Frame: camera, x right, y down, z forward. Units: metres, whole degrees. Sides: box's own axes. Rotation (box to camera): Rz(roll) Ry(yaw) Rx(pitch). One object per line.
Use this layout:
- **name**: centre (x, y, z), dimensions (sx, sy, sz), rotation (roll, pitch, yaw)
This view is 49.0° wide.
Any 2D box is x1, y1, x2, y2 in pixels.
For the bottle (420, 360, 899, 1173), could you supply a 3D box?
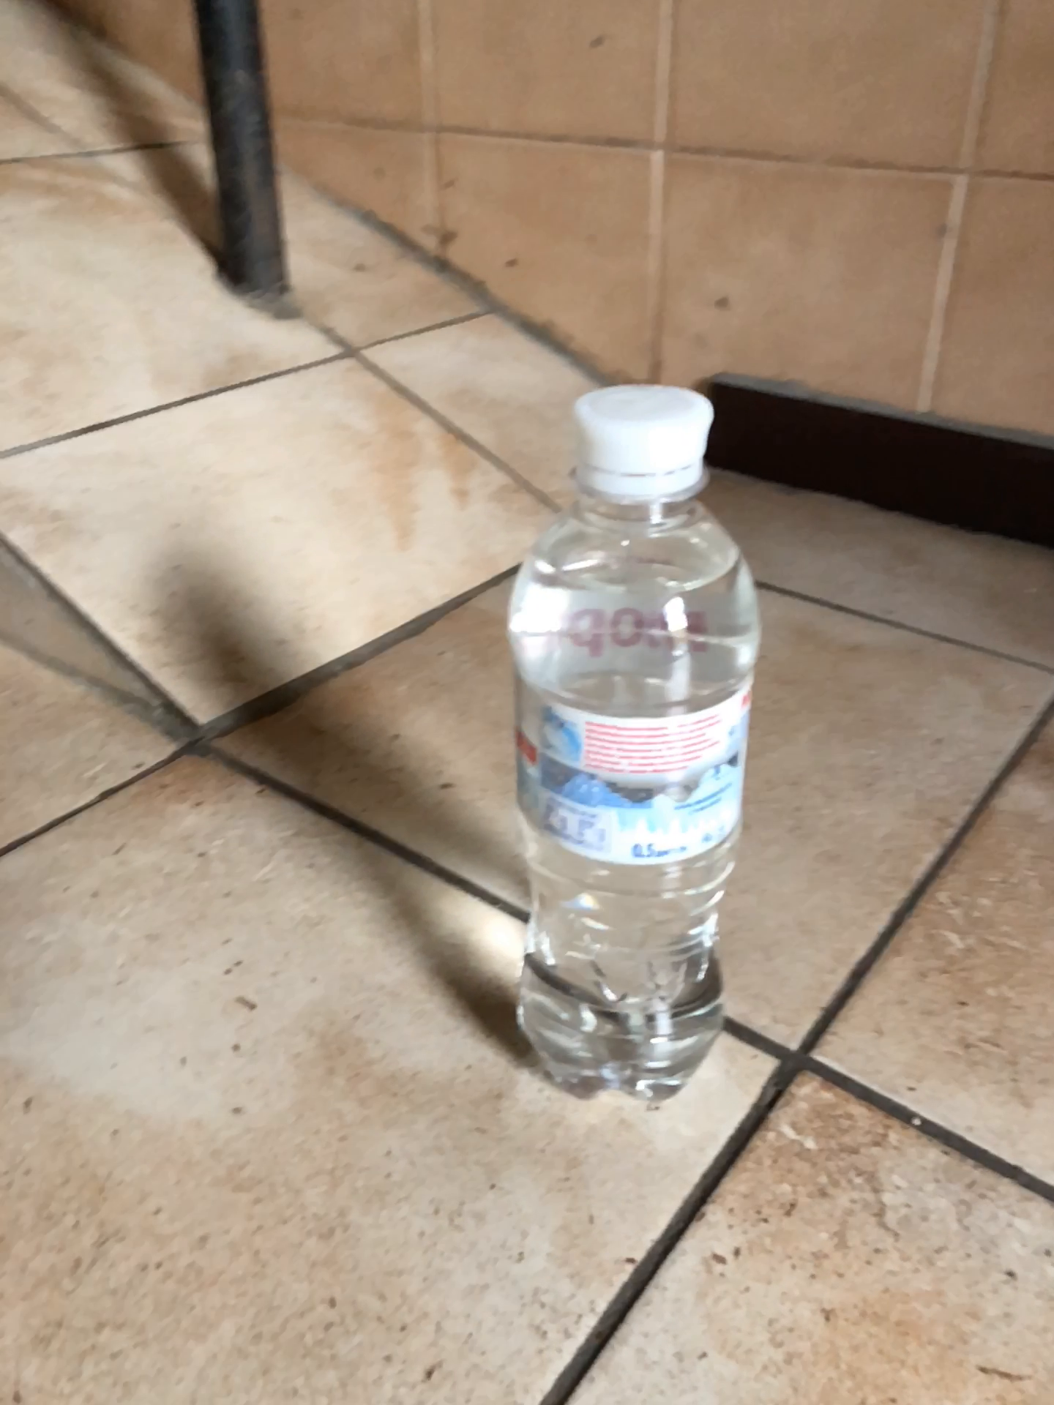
- **bottle**: centre (0.030, 0.019, 0.324), dimensions (0.080, 0.199, 0.080), rotation (0, 31, 0)
